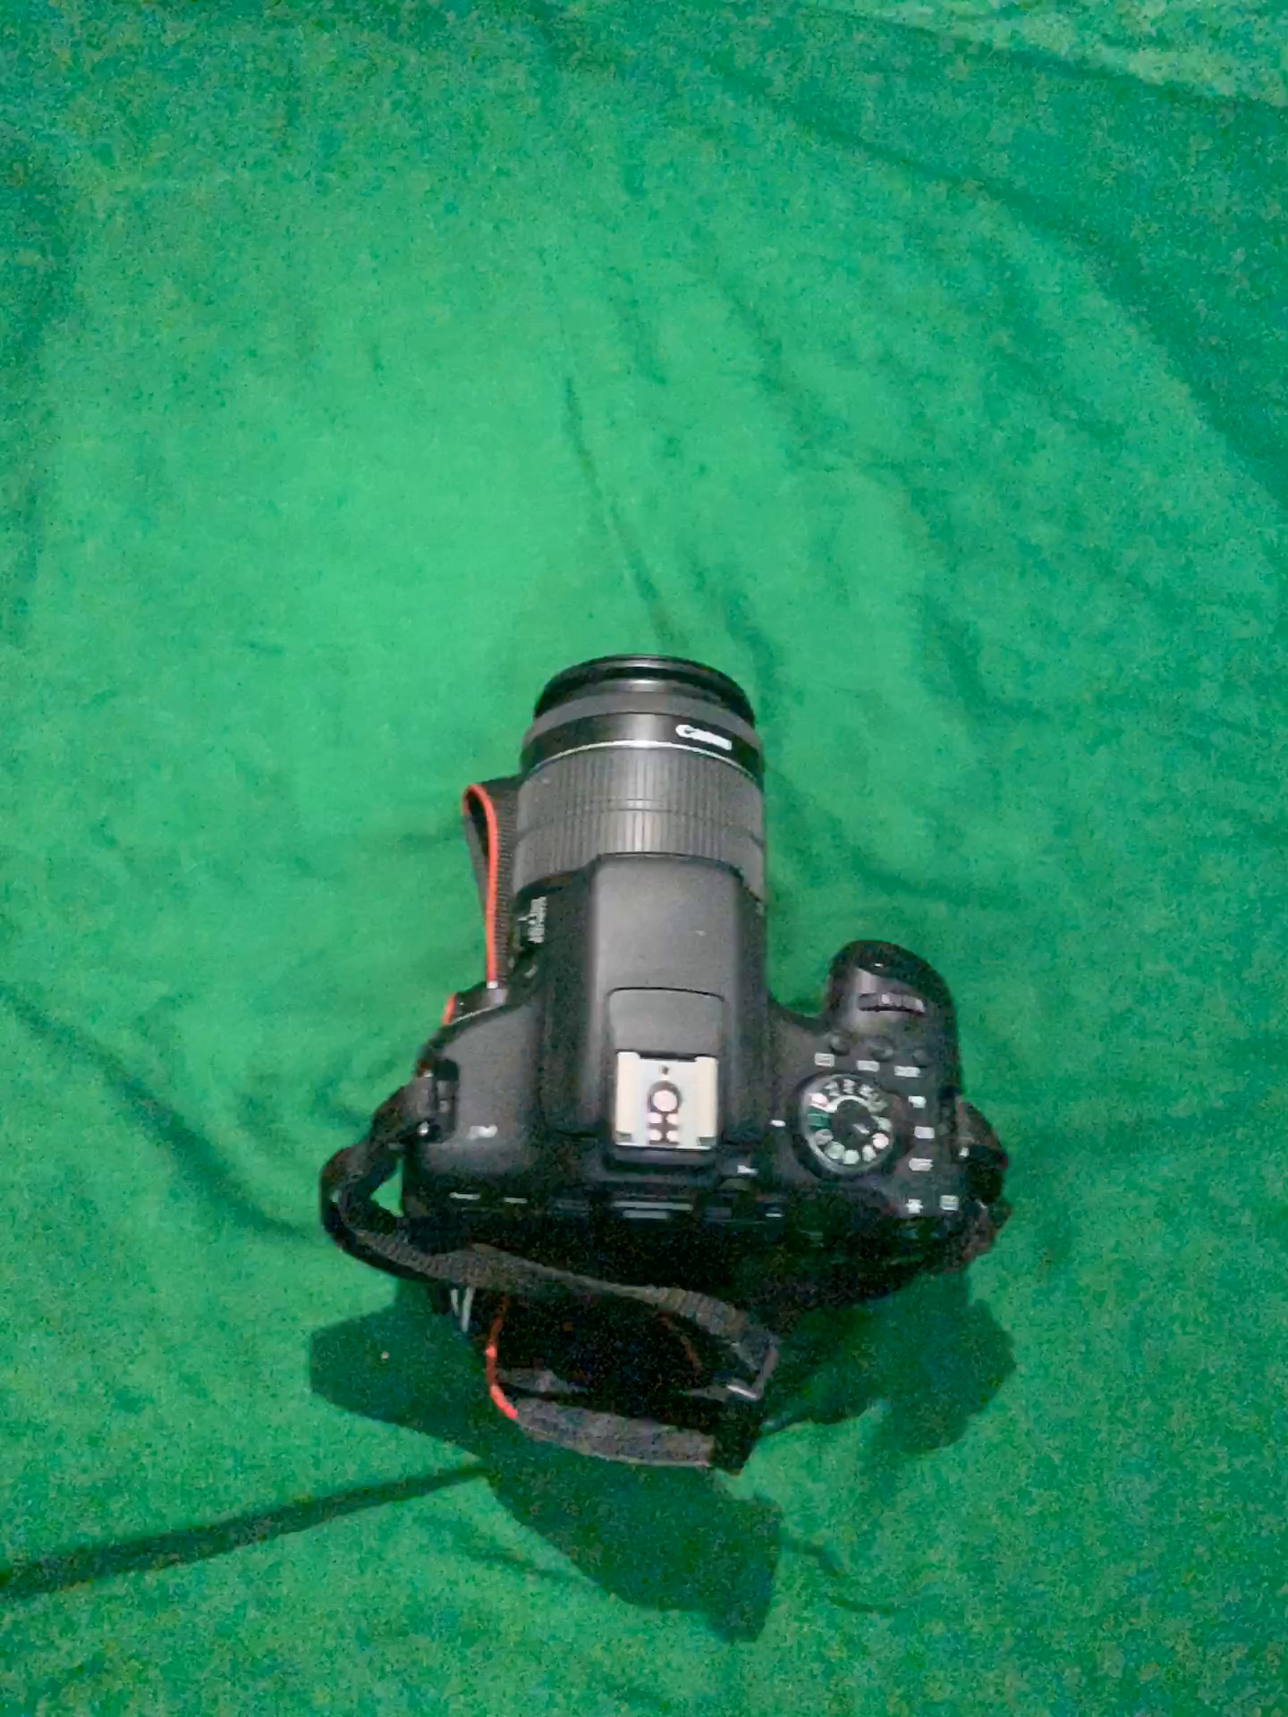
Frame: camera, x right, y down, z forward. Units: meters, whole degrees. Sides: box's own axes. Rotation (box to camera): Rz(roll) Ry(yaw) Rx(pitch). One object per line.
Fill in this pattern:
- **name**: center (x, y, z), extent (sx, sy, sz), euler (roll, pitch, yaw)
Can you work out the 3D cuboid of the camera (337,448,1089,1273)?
- **camera**: center (0.011, 0.006, 0.345), extent (0.152, 0.100, 0.190), euler (0, 72, -3)
